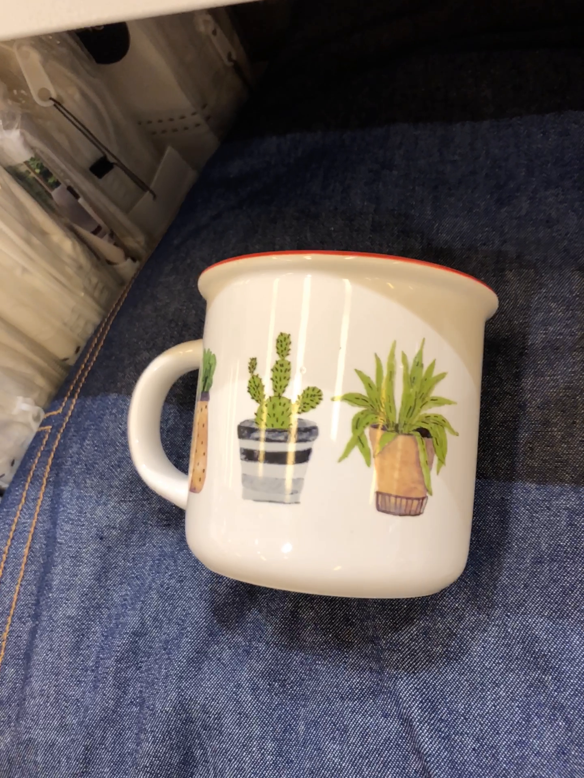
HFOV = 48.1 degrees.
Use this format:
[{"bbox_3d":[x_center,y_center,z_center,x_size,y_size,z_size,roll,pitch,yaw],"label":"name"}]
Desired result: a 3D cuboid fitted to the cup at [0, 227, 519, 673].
[{"bbox_3d":[-0.004,0.018,0.213,0.140,0.090,0.100,2,78,22],"label":"cup"}]
